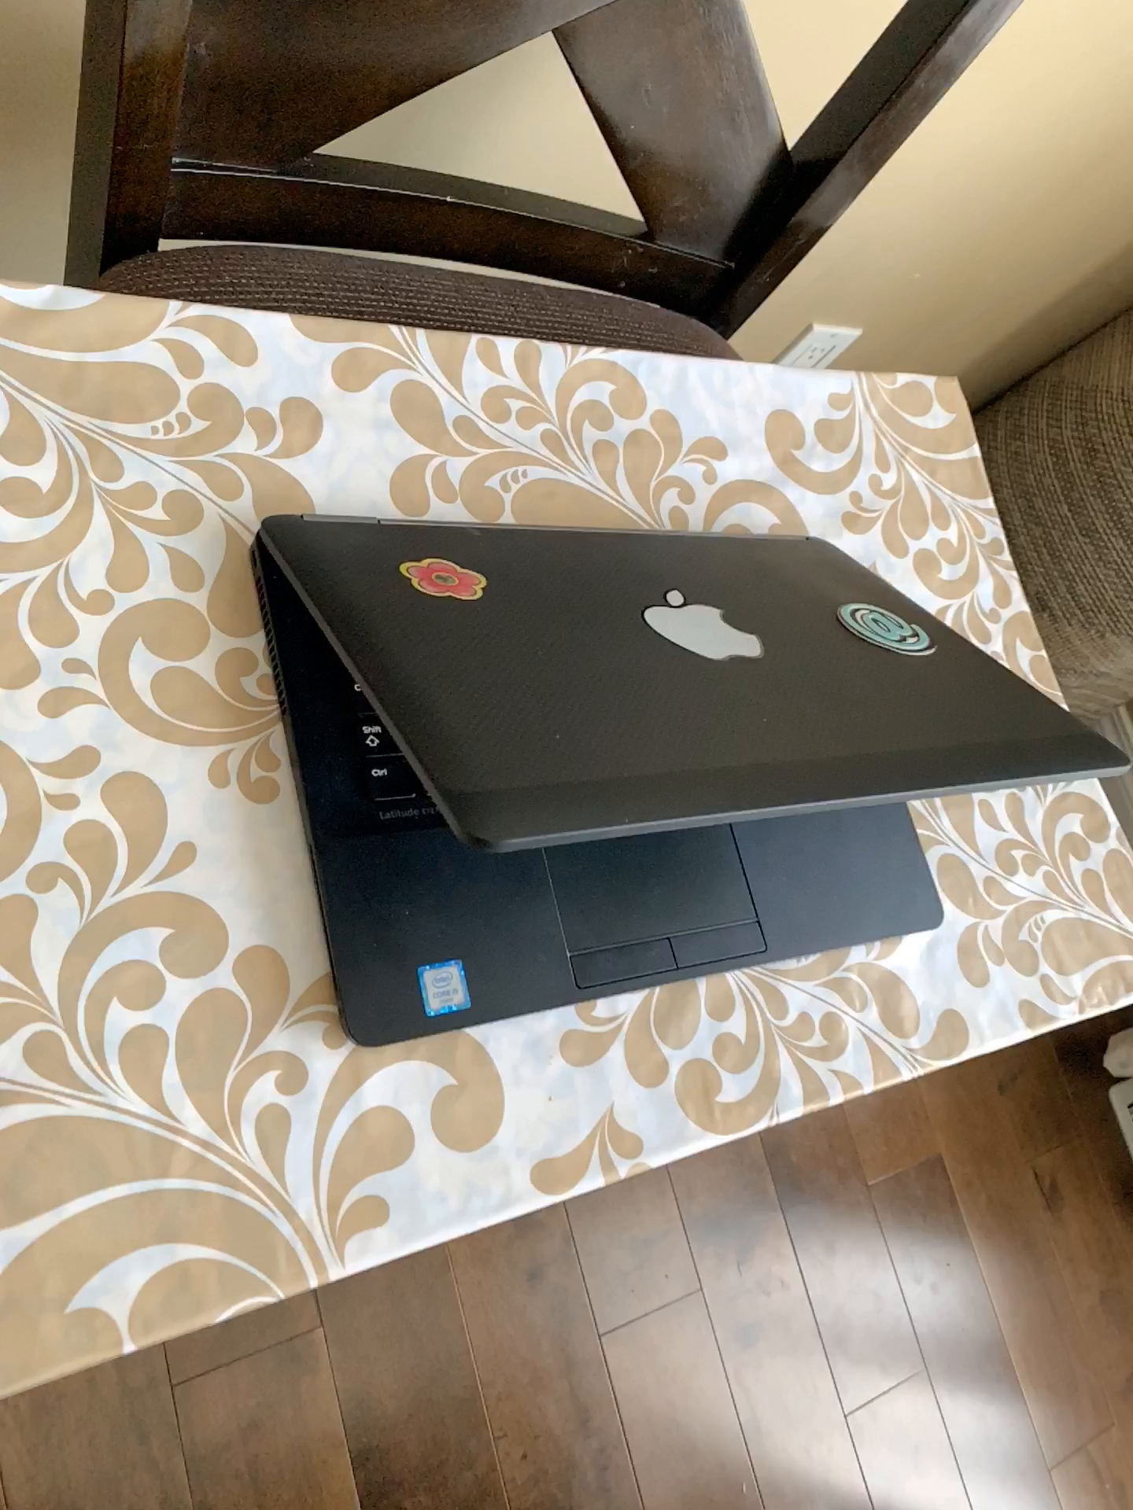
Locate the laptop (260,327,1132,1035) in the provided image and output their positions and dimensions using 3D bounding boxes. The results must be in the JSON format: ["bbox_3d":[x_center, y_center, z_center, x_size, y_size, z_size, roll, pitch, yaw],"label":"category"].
[{"bbox_3d":[0.061,-0.026,0.457,0.301,0.127,0.199,-4,72,-32],"label":"laptop"}]
